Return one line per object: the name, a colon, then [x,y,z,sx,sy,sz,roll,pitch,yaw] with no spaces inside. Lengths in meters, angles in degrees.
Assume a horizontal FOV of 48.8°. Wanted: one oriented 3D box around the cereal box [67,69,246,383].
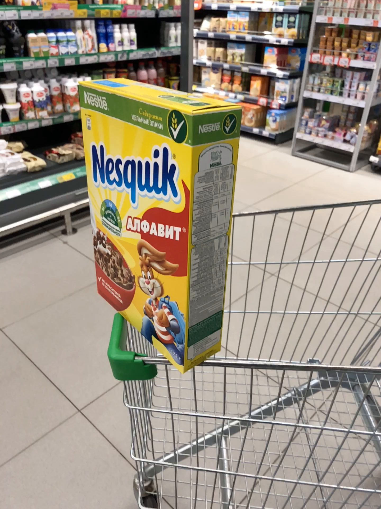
cereal box: [-0.048,-0.036,0.466,0.060,0.288,0.201,-21,38,-36]
